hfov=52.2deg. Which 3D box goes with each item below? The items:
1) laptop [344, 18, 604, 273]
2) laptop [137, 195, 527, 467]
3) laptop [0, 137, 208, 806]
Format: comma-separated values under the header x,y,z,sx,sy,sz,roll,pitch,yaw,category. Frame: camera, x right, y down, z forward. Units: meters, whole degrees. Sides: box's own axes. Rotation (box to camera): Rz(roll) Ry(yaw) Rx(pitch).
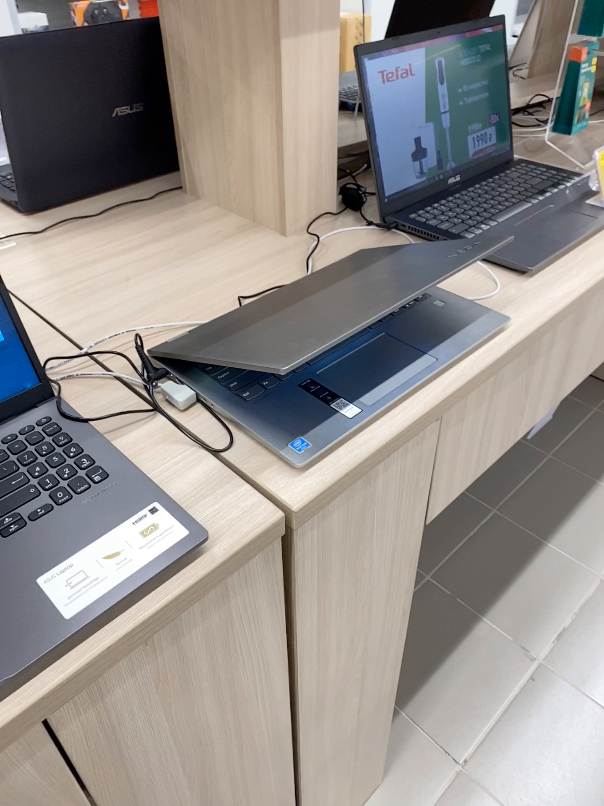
x,y,z,sx,sy,sz,roll,pitch,yaw,category
0.310,-0.399,0.894,0.303,0.215,0.390,30,47,32,laptop
0.038,-0.101,0.629,0.326,0.082,0.218,-31,48,-33,laptop
-0.300,0.019,0.364,0.353,0.212,0.309,-31,47,-33,laptop
